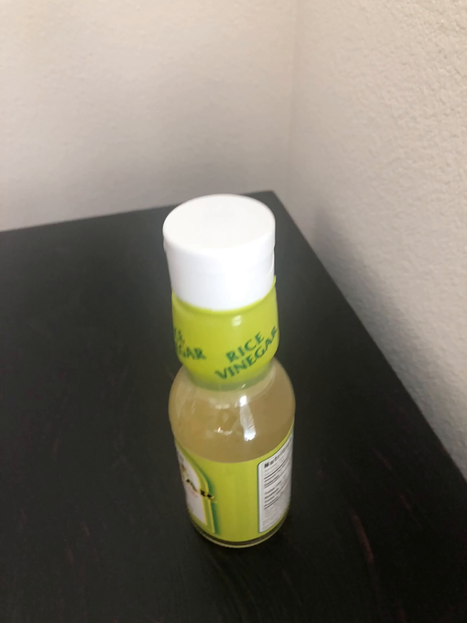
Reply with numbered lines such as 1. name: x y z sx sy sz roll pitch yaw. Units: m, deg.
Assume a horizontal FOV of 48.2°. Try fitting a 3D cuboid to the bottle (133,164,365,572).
1. bottle: 0.005 0.041 0.248 0.070 0.199 0.070 -1 40 1
